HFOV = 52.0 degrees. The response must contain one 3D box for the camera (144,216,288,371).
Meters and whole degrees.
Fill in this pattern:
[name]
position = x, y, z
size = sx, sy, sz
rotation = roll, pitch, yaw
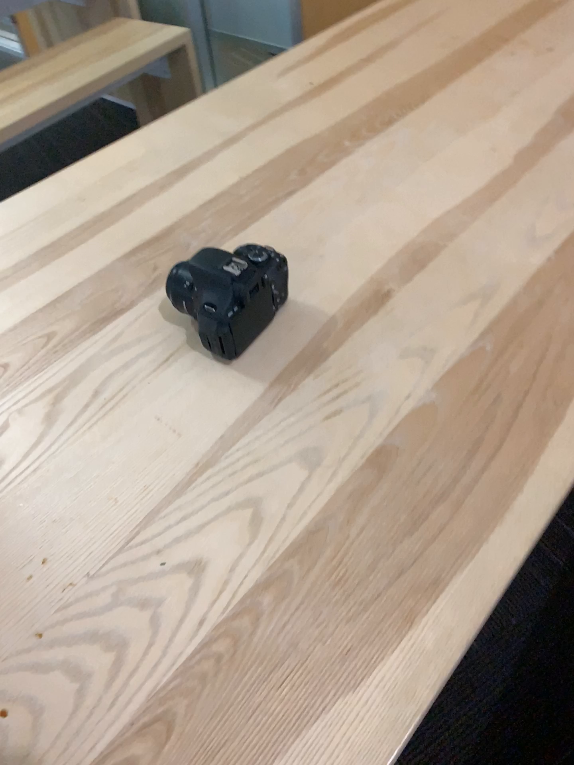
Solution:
[camera]
position = -0.079, -0.109, 0.707
size = 0.114, 0.101, 0.120
rotation = 27, 56, 19
